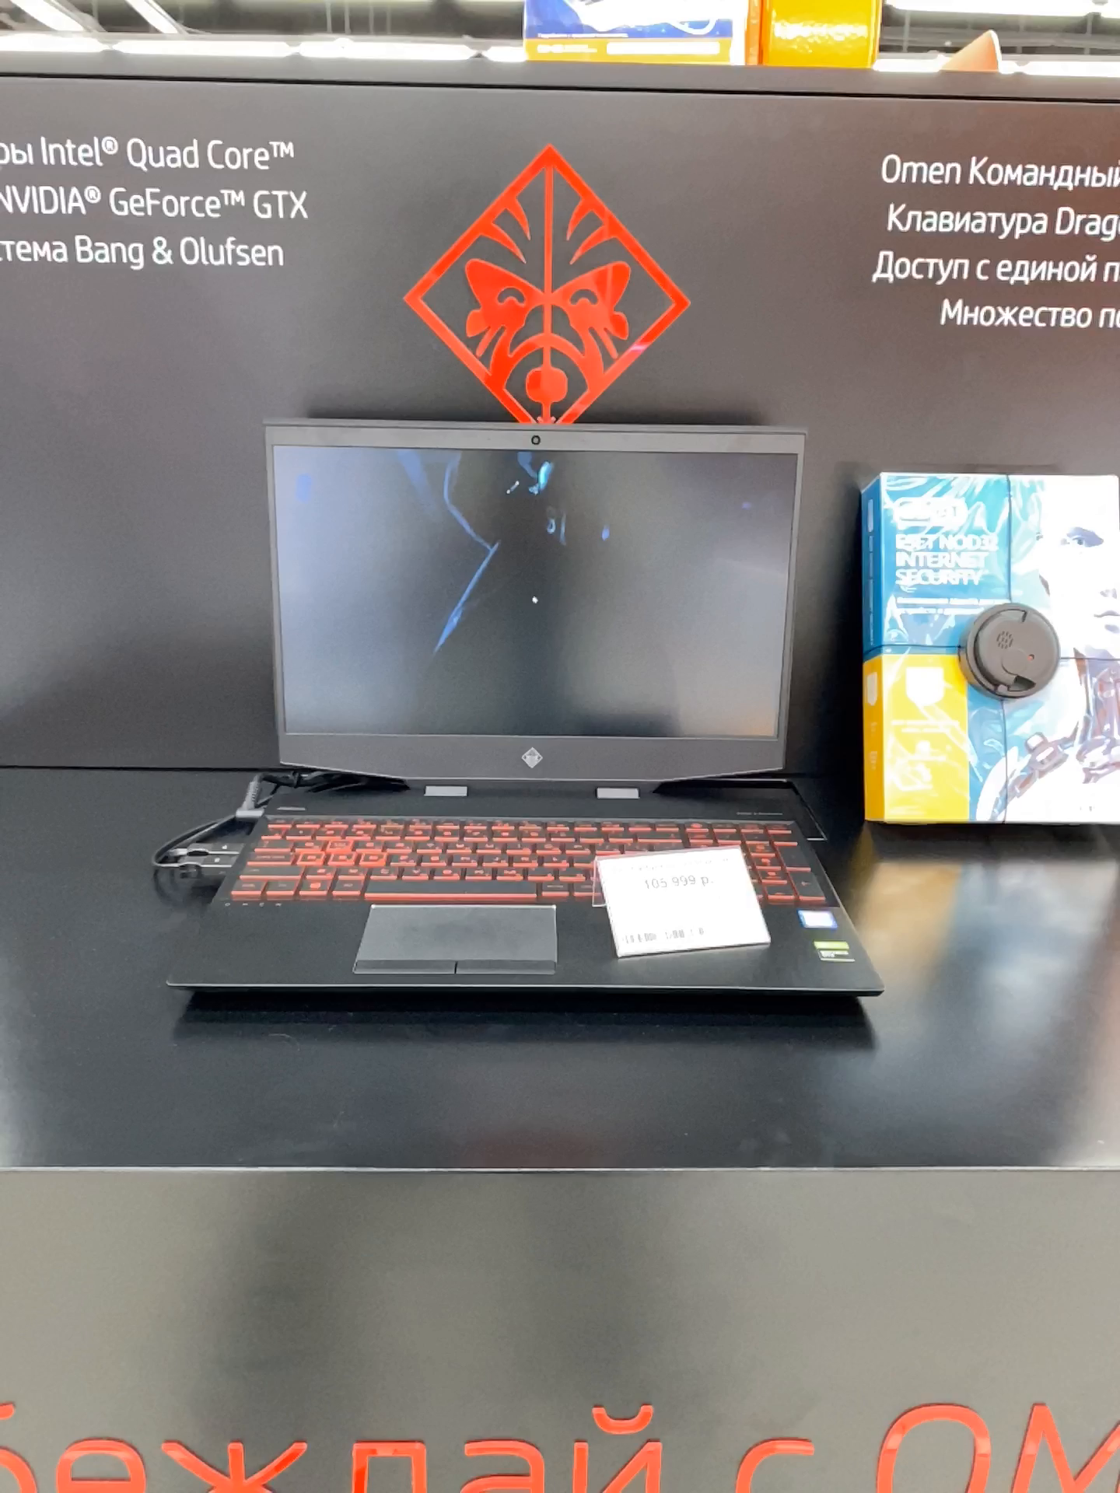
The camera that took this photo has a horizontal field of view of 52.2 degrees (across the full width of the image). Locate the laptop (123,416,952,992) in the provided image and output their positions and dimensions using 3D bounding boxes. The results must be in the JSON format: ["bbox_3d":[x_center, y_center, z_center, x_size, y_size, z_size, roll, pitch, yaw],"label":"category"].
[{"bbox_3d":[-0.016,-0.050,0.672,0.358,0.247,0.303,1,19,-2],"label":"laptop"}]
